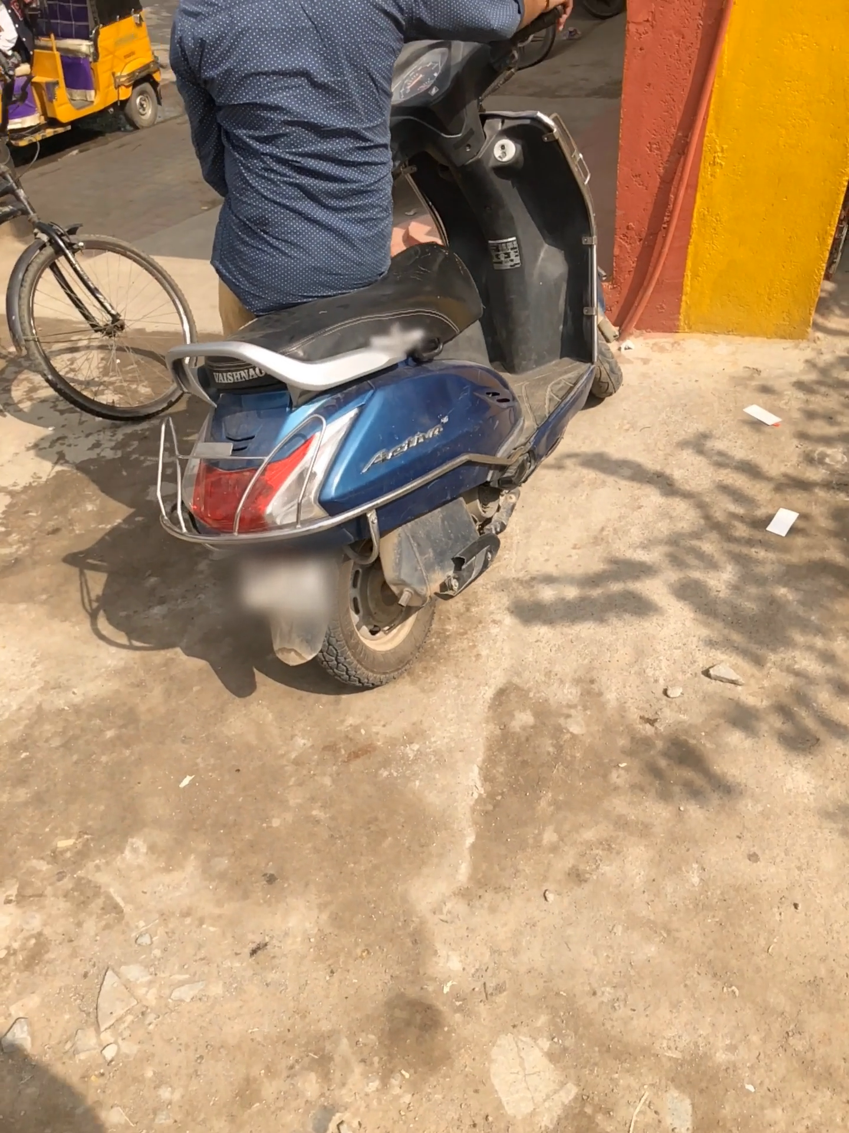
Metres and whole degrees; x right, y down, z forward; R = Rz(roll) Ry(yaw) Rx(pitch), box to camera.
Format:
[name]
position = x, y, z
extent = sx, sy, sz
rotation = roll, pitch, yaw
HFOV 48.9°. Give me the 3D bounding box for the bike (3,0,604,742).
[bike]
position = -0.076, -0.649, 2.332
extent = 0.624, 1.188, 1.643
rotation = 12, 41, 17
